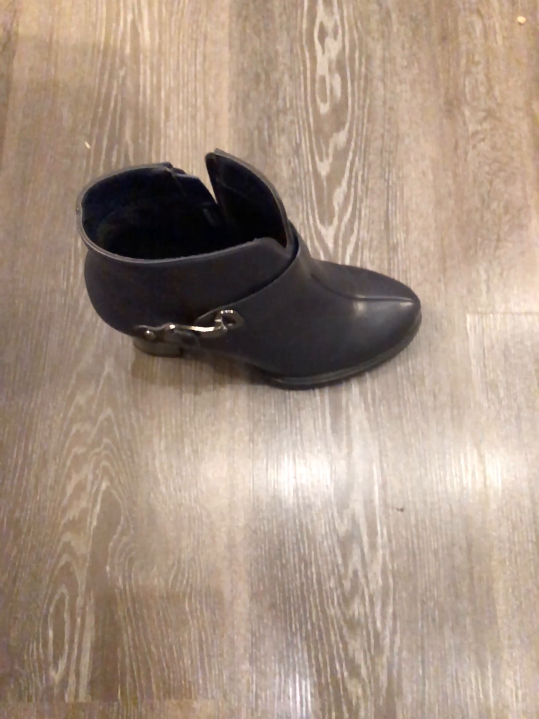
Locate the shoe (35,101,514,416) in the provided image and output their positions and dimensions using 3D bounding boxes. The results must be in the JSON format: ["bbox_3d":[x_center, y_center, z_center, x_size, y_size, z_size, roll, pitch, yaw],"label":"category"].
[{"bbox_3d":[0.006,-0.045,0.377,0.220,0.180,0.100,8,75,2],"label":"shoe"}]
